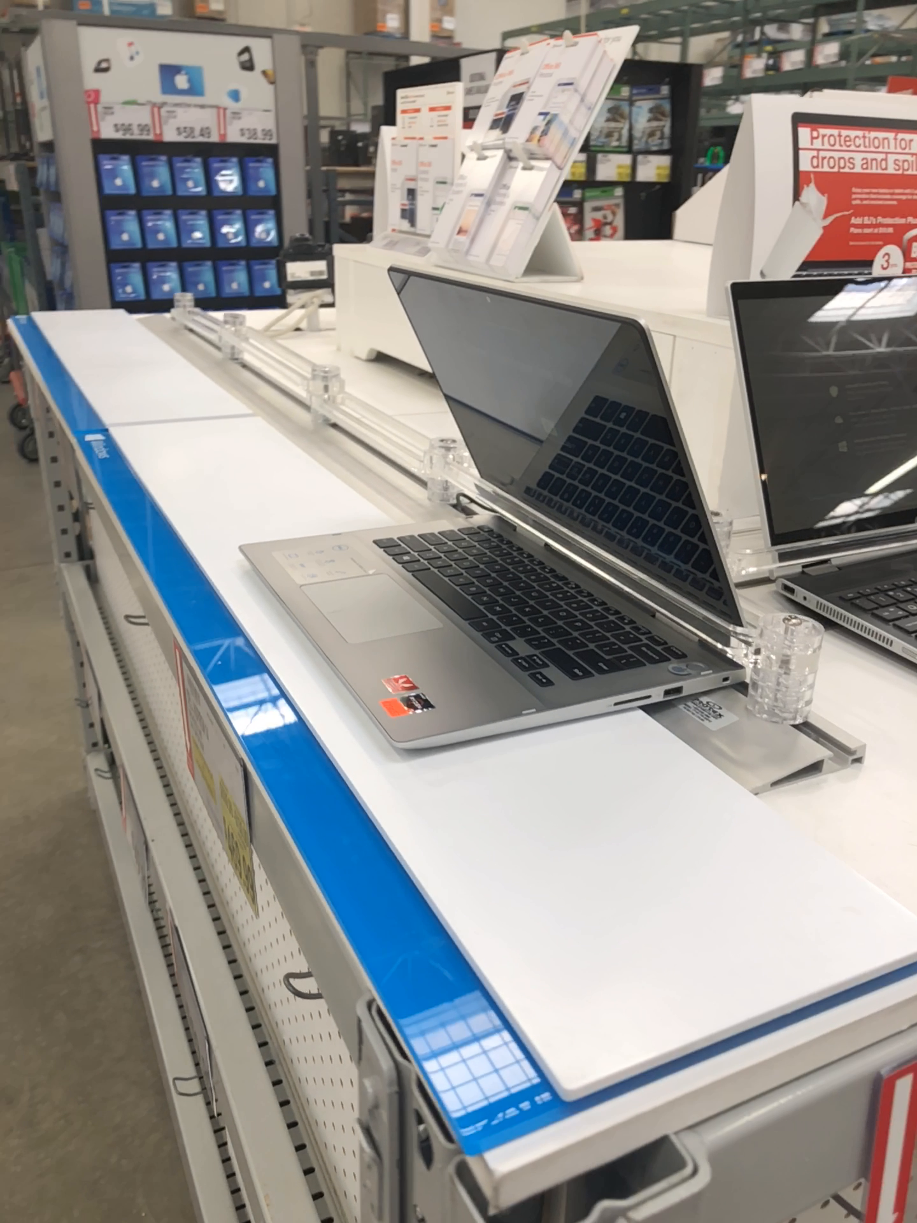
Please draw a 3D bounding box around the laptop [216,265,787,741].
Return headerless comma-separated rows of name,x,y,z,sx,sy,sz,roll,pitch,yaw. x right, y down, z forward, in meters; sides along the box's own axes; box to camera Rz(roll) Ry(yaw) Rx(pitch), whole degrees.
laptop,-0.001,-0.102,0.644,0.222,0.199,0.320,-10,25,-24
